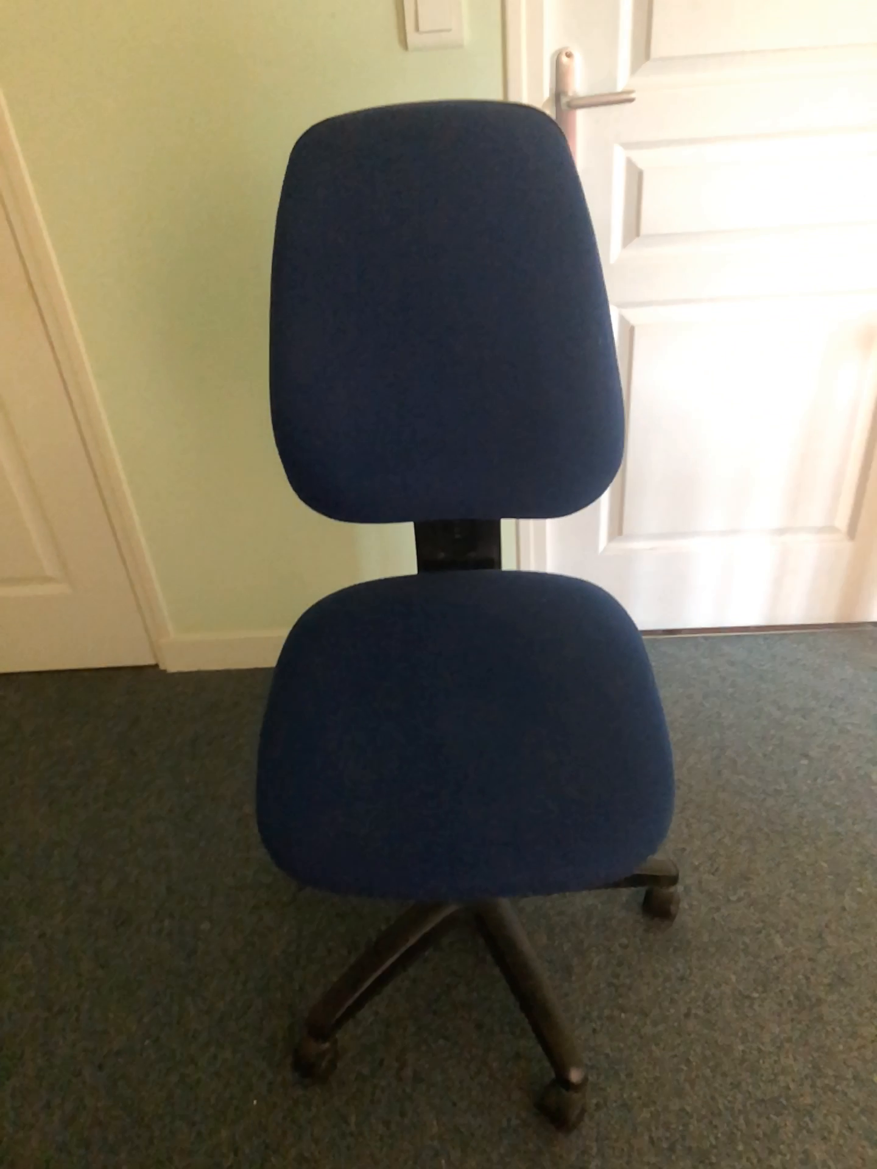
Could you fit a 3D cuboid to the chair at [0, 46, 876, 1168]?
[{"bbox_3d":[0.043,0.069,1.134,0.700,1.113,0.674,-4,36,1],"label":"chair"}]
